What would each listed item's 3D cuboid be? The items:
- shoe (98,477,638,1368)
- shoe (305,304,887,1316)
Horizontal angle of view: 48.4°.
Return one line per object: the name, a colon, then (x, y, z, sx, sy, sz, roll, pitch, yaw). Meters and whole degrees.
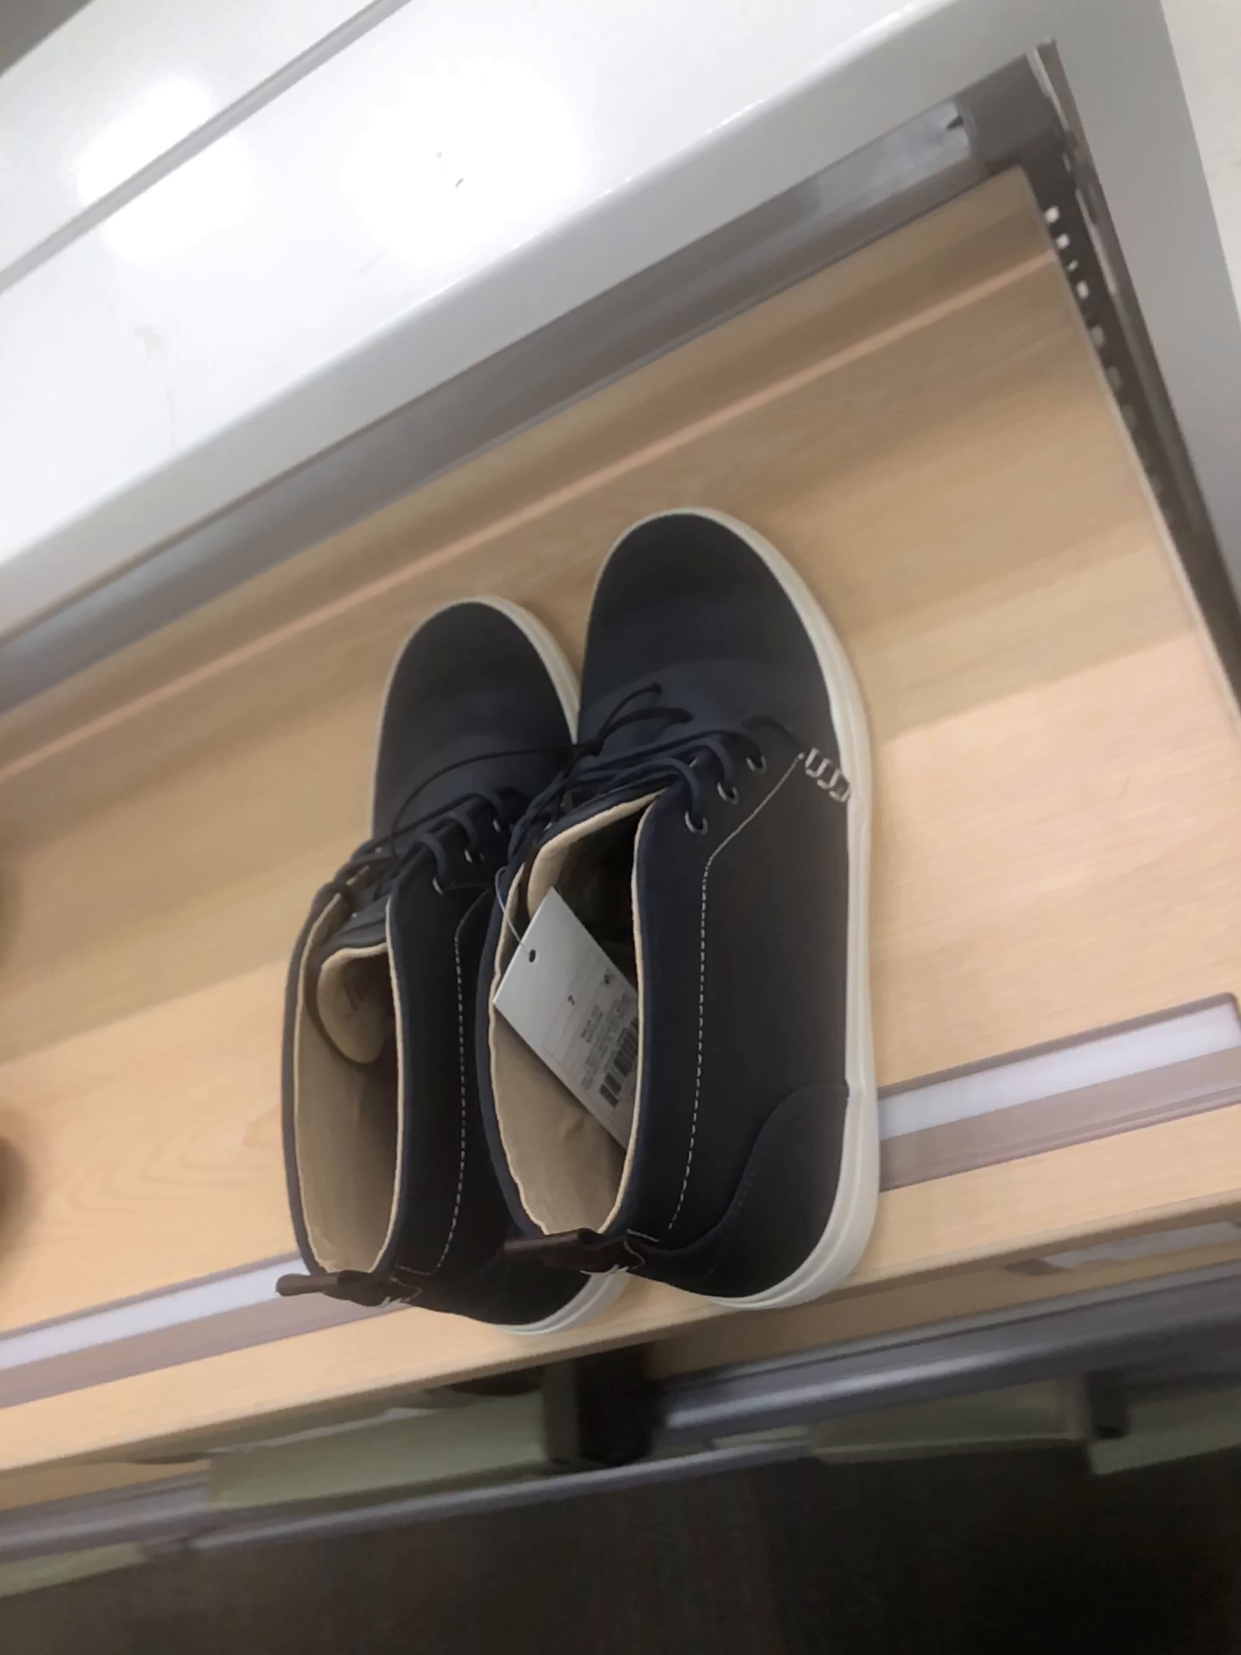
shoe: (-0.091, 0.034, 0.467, 0.109, 0.114, 0.258, -23, 60, 23)
shoe: (-0.014, 0.000, 0.427, 0.106, 0.125, 0.268, -19, 61, 25)
